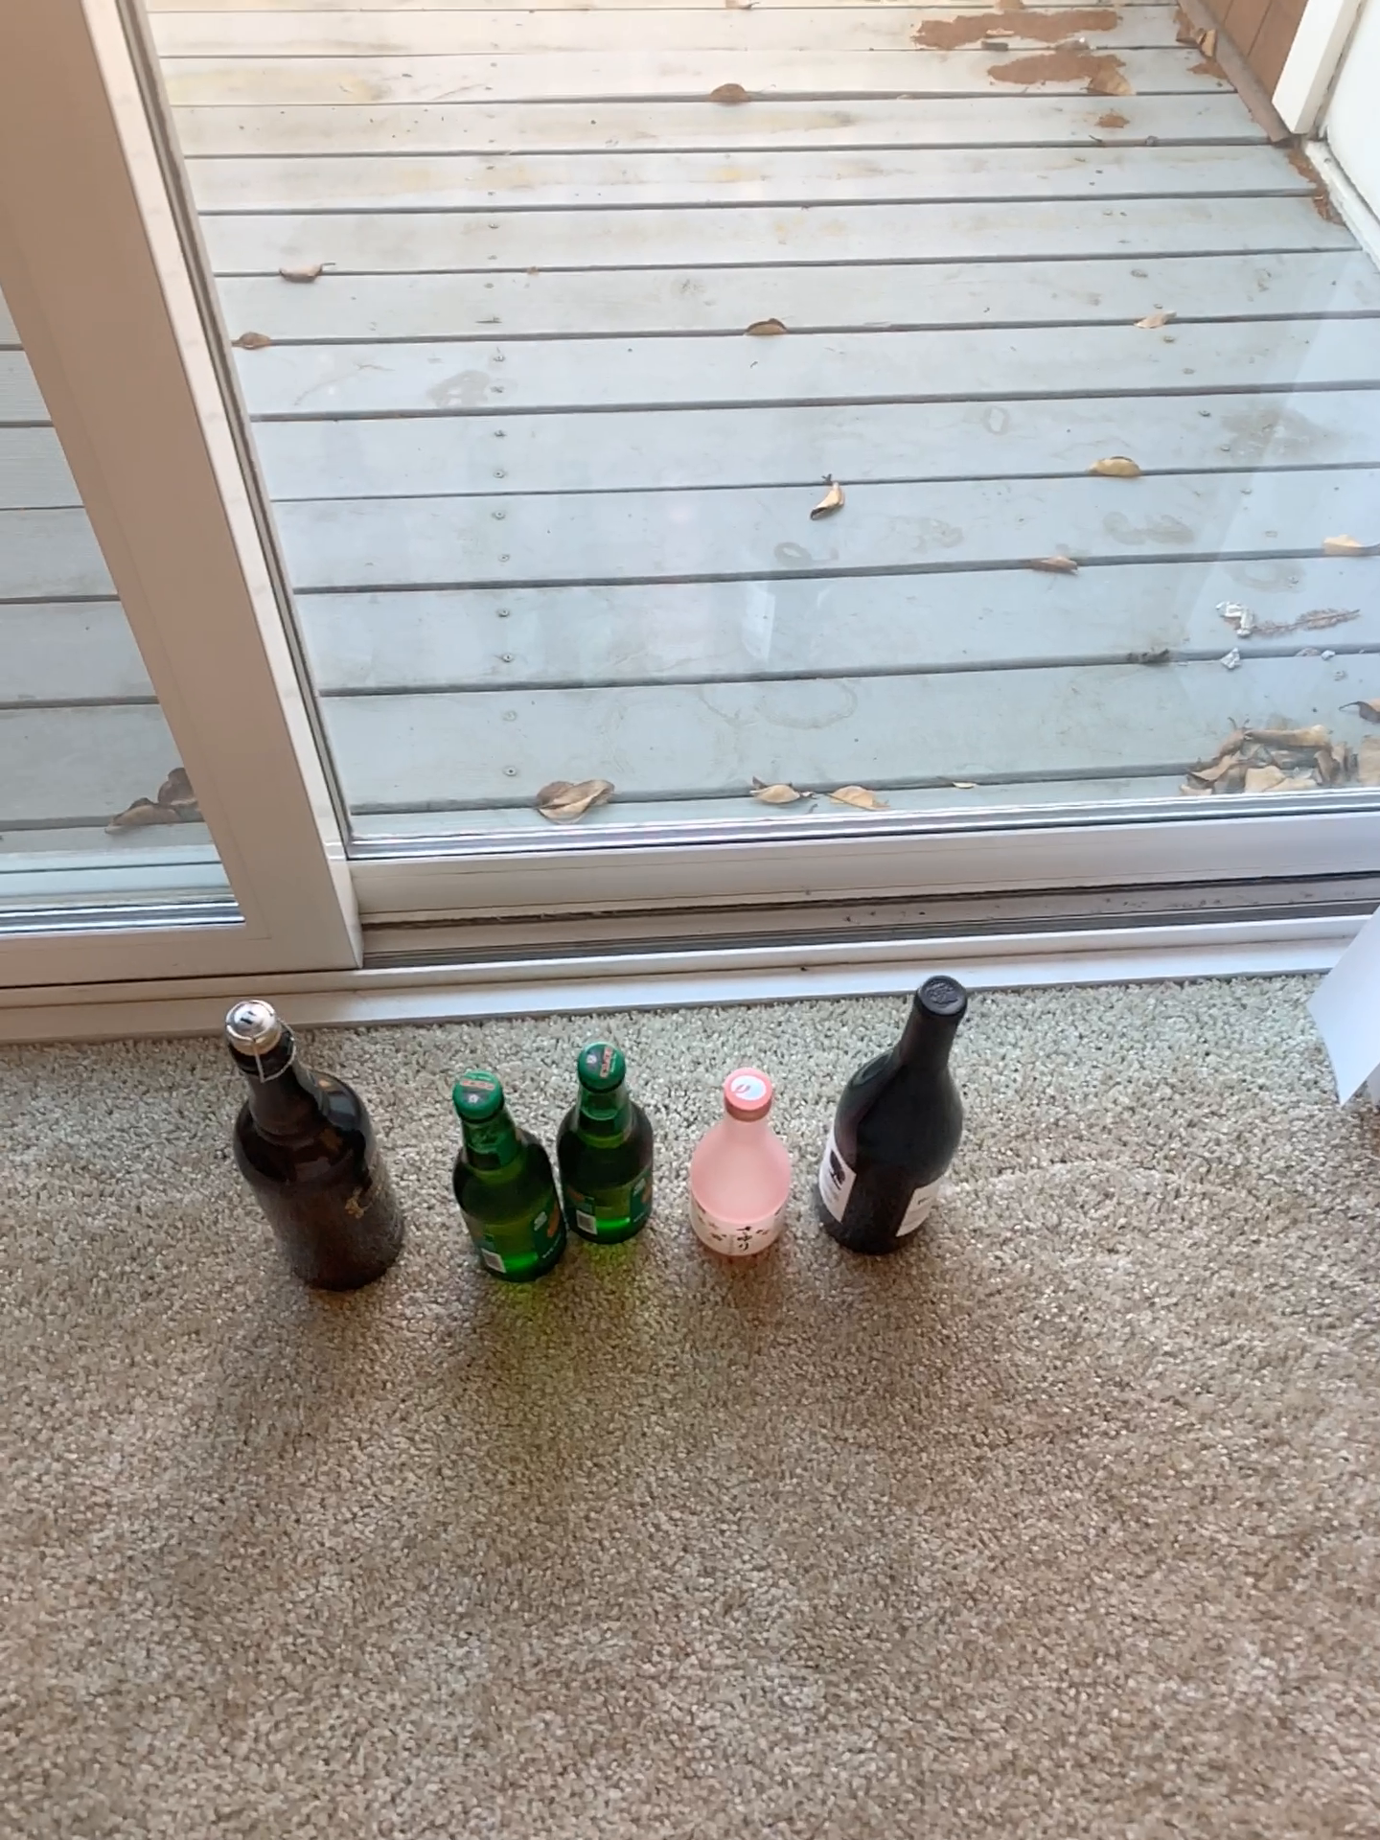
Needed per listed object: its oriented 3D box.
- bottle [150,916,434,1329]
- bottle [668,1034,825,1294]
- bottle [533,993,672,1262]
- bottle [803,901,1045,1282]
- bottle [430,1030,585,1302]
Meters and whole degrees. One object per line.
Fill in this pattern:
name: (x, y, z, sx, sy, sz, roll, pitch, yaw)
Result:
bottle: (-0.222, 0.129, 0.820, 0.090, 0.279, 0.100, -16, 57, -13)
bottle: (0.032, 0.154, 0.868, 0.070, 0.169, 0.080, 13, 56, 7)
bottle: (-0.054, 0.134, 0.873, 0.070, 0.189, 0.080, -6, 55, -7)
bottle: (0.137, 0.114, 0.861, 0.090, 0.249, 0.110, 13, 56, 7)
bottle: (-0.108, 0.155, 0.857, 0.070, 0.189, 0.080, -9, 56, -8)
